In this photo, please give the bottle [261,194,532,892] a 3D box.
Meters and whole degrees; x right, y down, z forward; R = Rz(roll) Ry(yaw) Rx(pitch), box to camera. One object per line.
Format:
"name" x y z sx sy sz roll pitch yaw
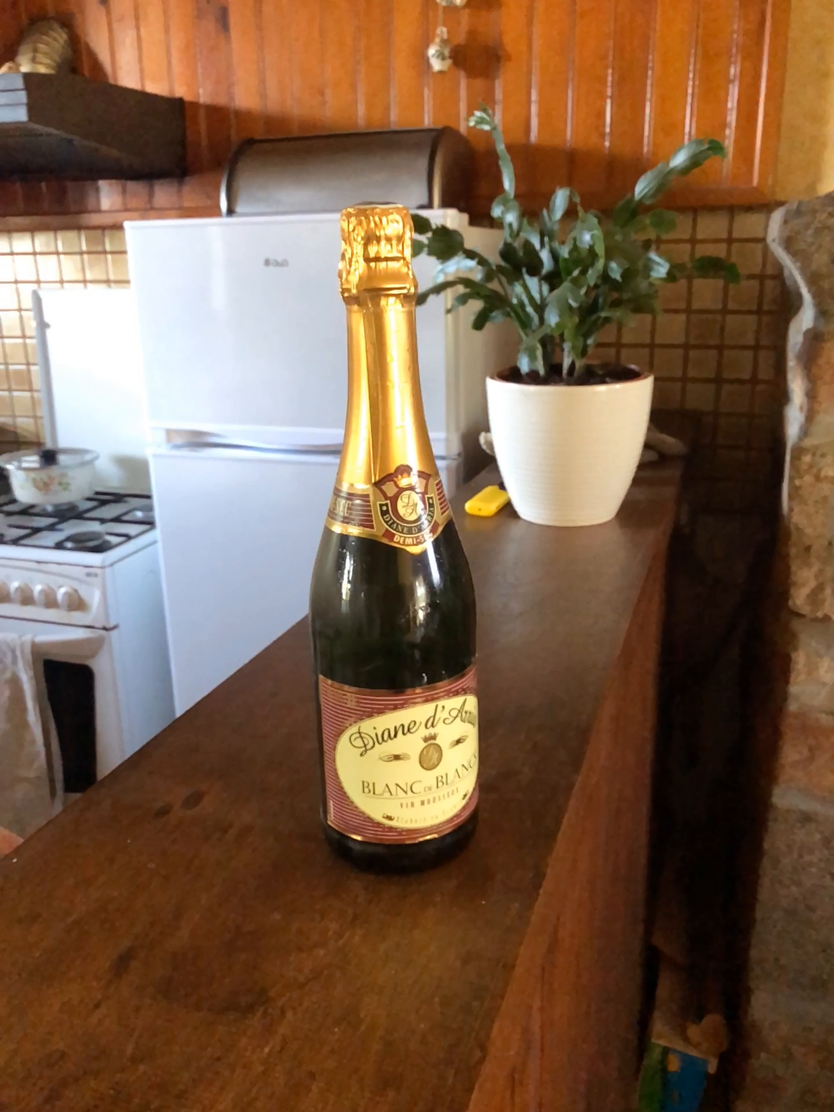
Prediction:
"bottle" -0.011 -0.008 0.437 0.090 0.299 0.100 -7 18 -18
